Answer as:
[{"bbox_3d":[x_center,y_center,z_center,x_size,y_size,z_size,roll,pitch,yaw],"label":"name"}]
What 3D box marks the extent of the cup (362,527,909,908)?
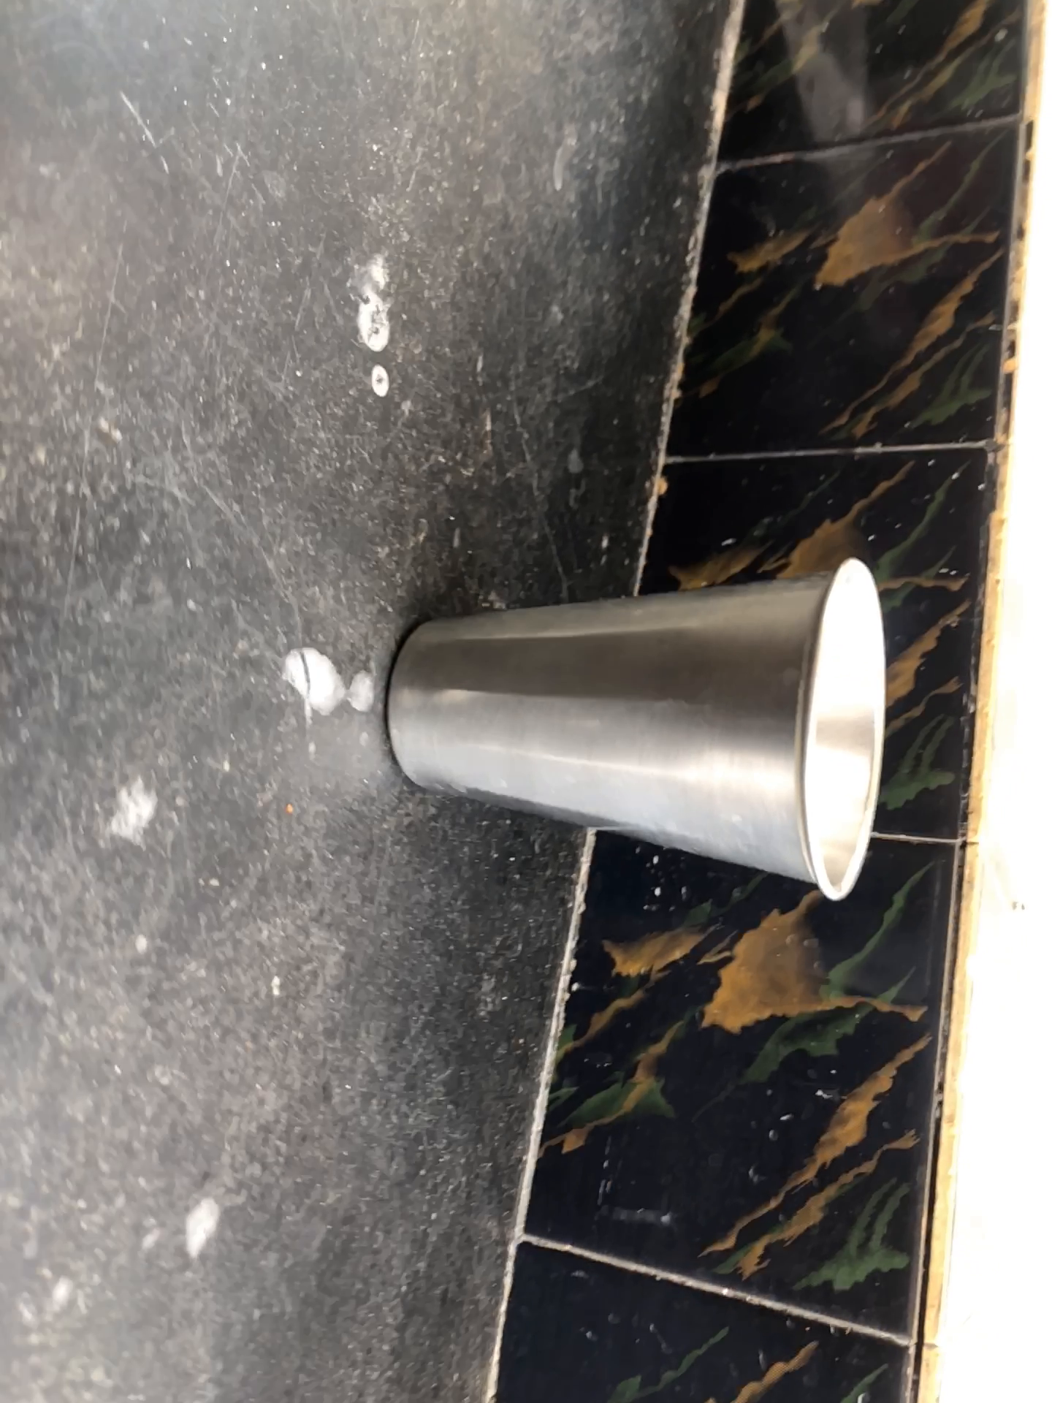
[{"bbox_3d":[0.030,0.001,0.302,0.071,0.119,0.080,1,92,-65],"label":"cup"}]
